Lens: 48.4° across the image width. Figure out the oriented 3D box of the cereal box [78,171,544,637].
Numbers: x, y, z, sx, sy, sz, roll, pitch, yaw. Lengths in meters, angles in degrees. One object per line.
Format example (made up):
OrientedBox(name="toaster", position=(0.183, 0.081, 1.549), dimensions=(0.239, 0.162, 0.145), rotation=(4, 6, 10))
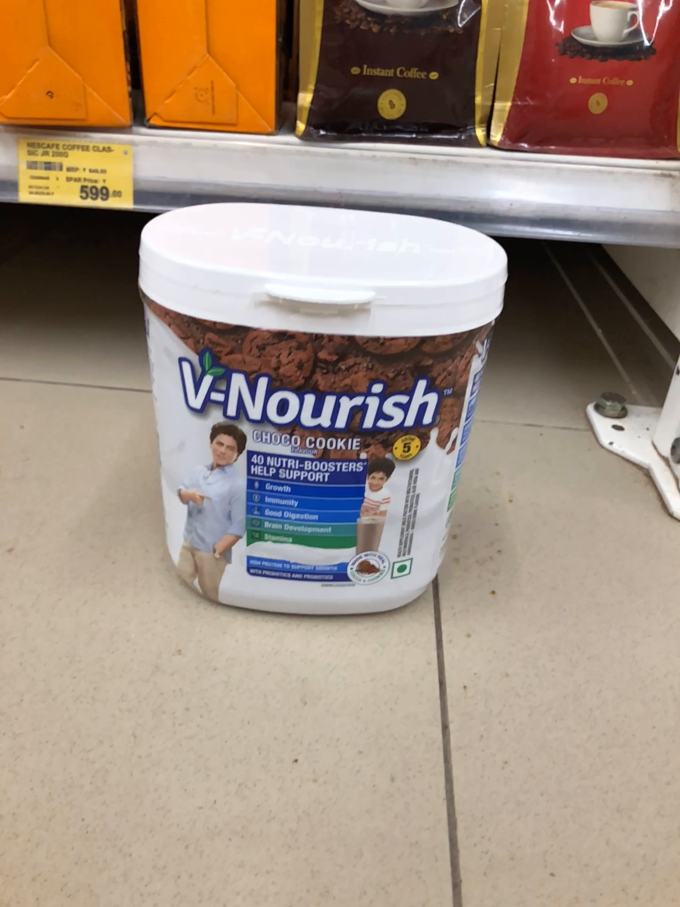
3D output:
OrientedBox(name="cereal box", position=(-0.012, -0.021, 0.308), dimensions=(0.140, 0.149, 0.101), rotation=(4, 31, 0))
